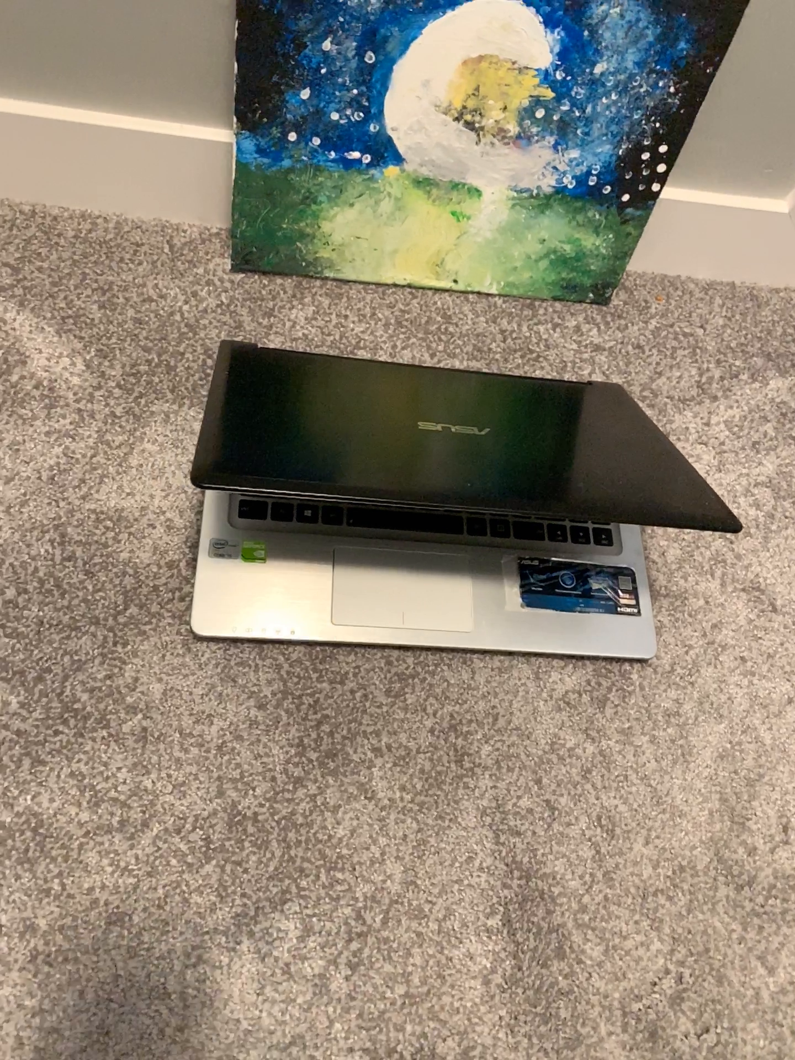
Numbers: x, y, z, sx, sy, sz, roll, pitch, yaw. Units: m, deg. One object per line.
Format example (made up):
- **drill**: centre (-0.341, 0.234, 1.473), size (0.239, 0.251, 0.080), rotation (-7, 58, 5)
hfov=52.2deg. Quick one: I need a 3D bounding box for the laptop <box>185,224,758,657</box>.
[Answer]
- **laptop**: centre (0.041, -0.056, 0.598), size (0.354, 0.134, 0.253), rotation (4, 64, -10)
